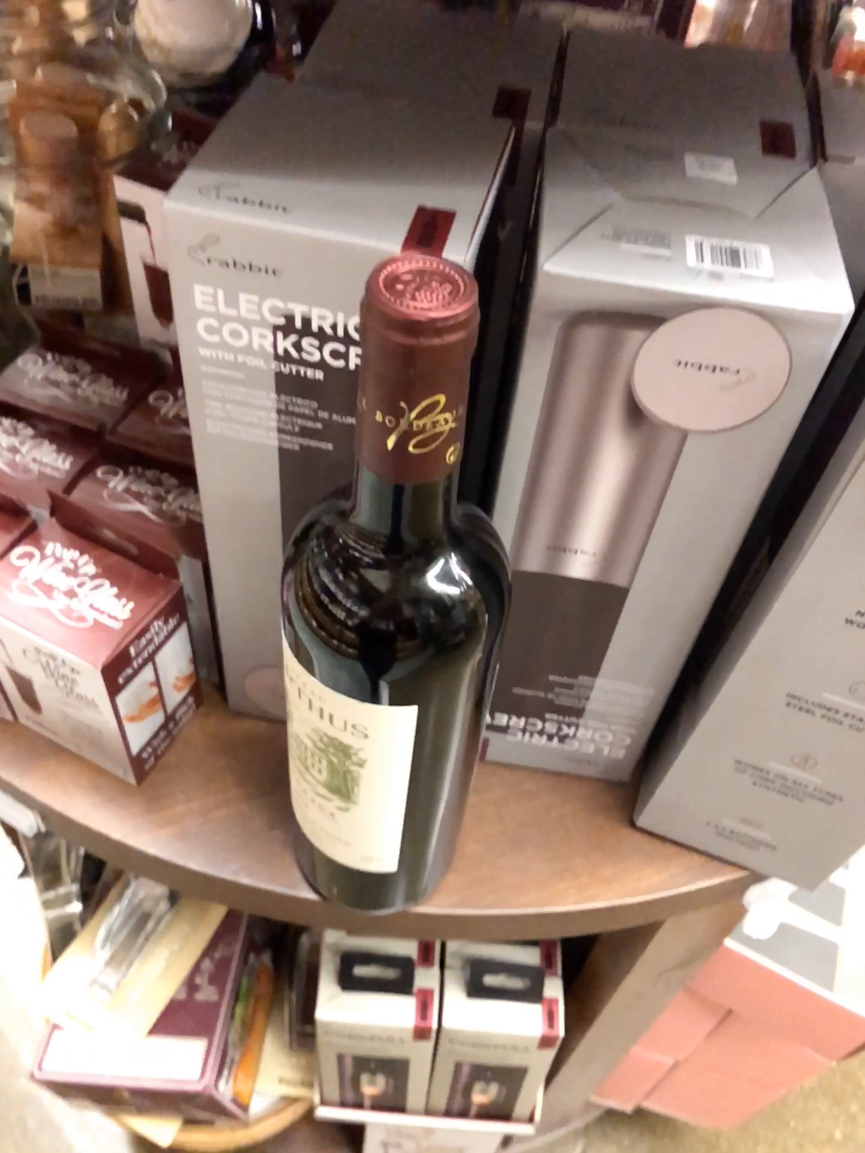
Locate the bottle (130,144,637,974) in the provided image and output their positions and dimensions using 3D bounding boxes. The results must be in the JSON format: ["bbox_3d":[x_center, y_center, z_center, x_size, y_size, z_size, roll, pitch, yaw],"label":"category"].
[{"bbox_3d":[-0.020,0.027,0.327,0.080,0.299,0.080,2,49,-3],"label":"bottle"}]
